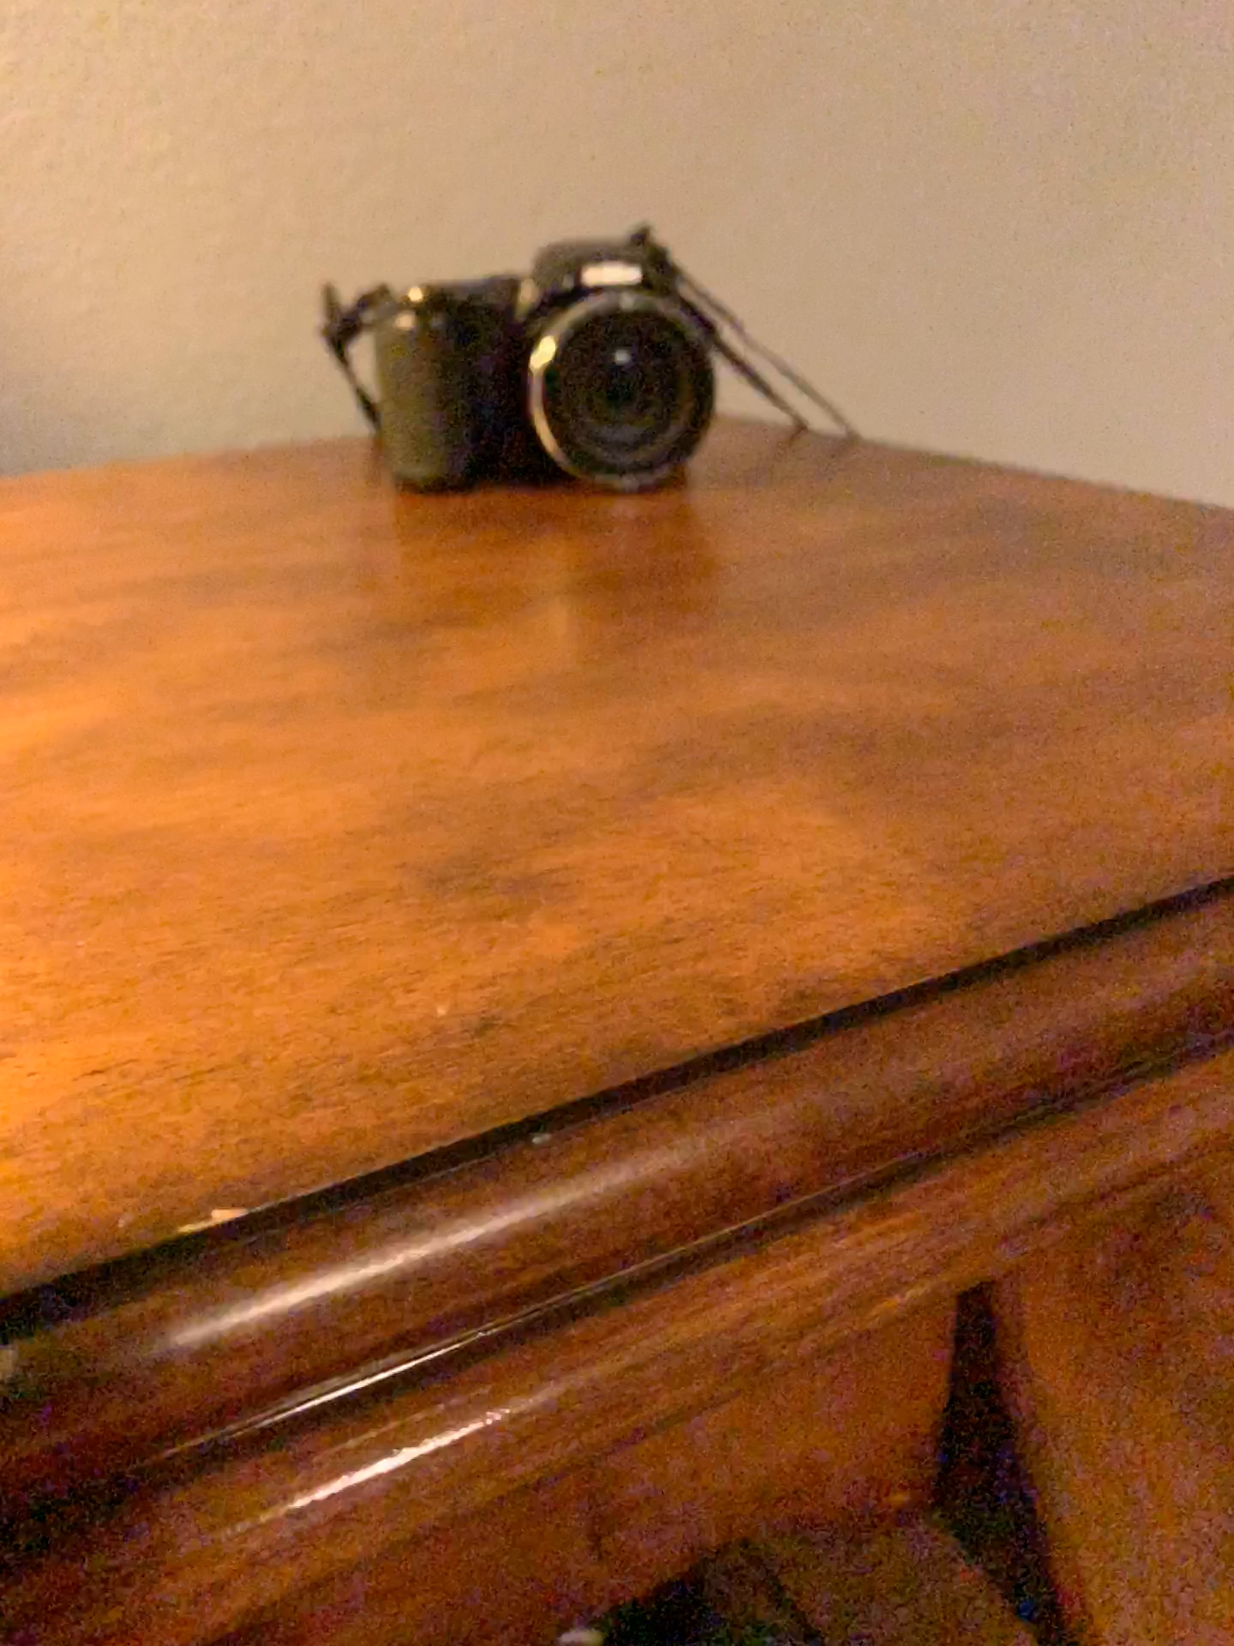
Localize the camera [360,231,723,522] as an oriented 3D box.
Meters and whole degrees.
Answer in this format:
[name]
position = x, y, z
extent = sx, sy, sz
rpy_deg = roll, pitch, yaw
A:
[camera]
position = -0.032, -0.167, 0.476
extent = 0.110, 0.081, 0.123
rpy_deg = -8, 24, -9
